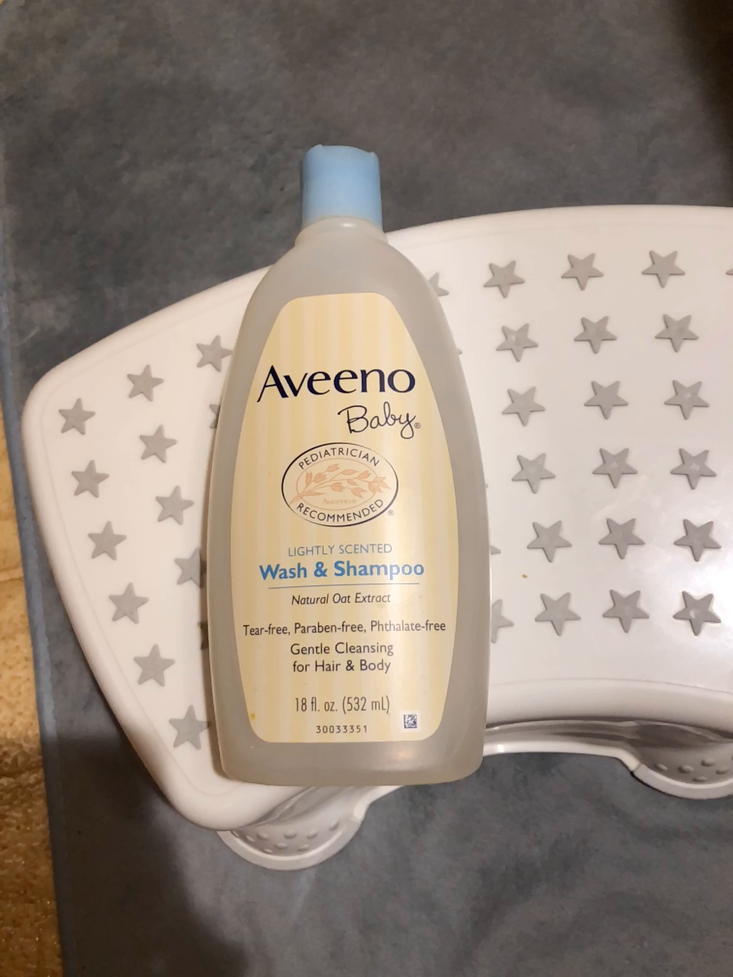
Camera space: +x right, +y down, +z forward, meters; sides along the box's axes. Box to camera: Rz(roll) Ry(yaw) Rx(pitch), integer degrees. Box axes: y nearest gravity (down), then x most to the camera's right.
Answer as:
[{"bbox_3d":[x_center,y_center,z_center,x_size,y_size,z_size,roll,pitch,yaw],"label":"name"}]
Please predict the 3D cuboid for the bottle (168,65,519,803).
[{"bbox_3d":[-0.006,-0.023,0.278,0.100,0.040,0.240,-2,76,7],"label":"bottle"}]
